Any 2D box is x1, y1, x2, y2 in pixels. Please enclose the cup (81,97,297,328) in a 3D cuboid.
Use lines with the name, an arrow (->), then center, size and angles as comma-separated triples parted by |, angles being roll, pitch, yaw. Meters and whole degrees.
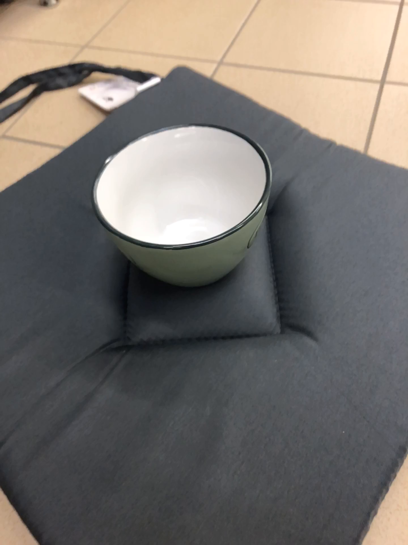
cup -> -0.010, -0.045, 0.321 | 0.120, 0.070, 0.141 | -6, 54, 2
